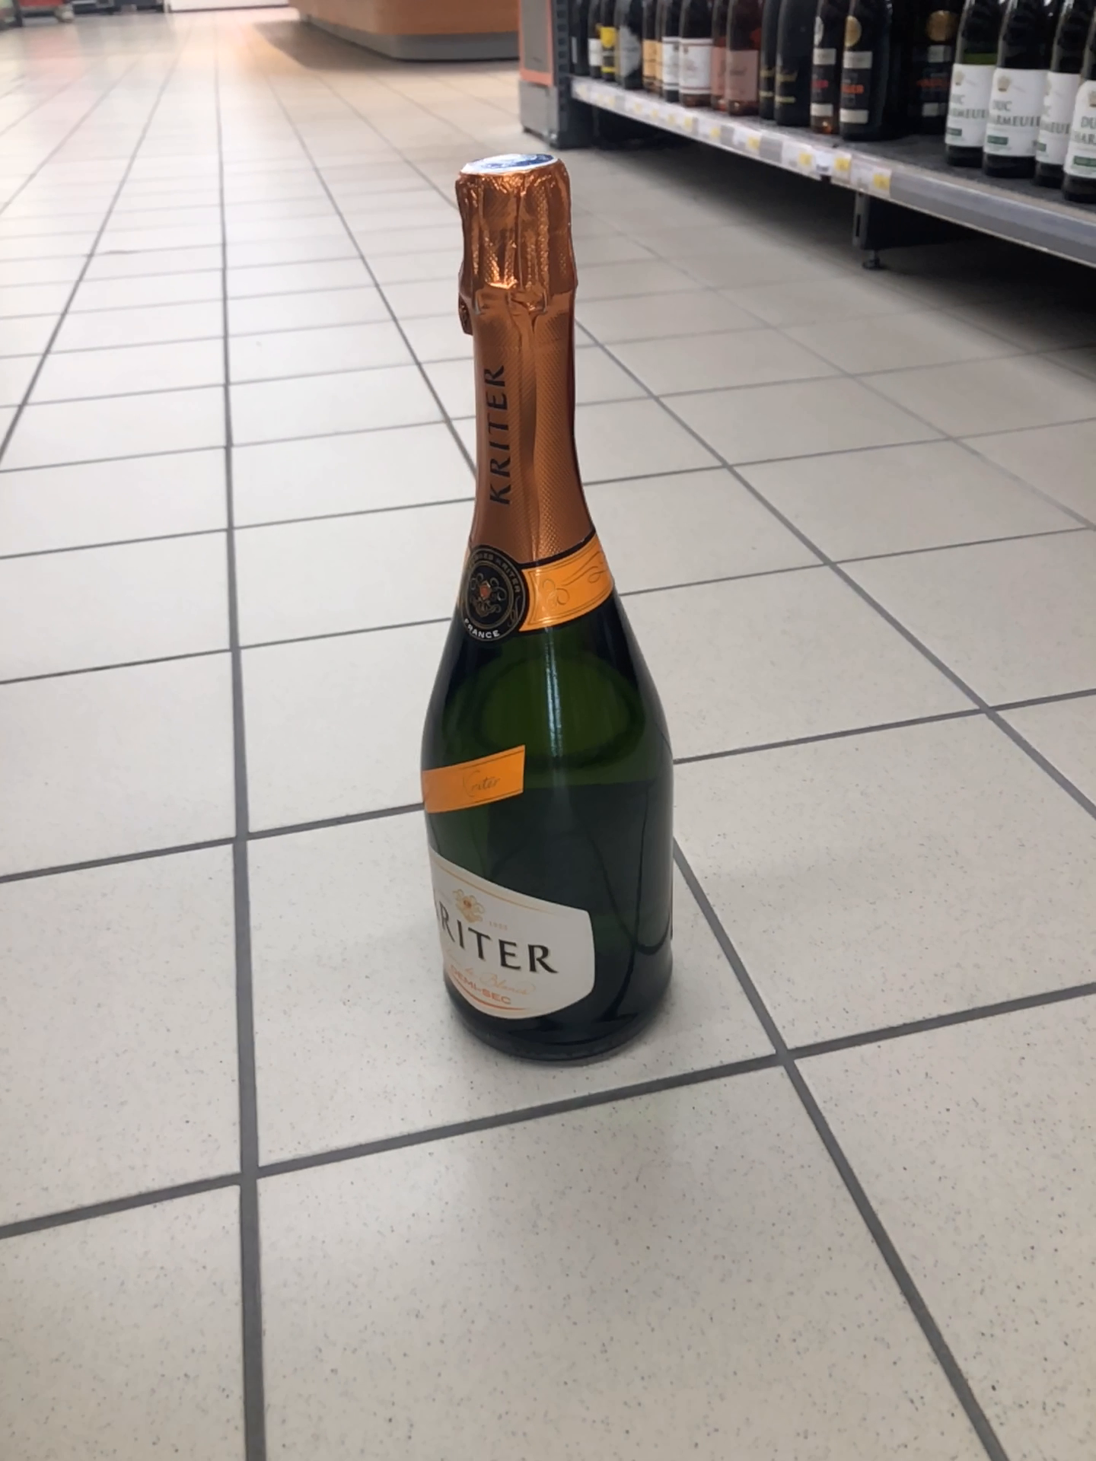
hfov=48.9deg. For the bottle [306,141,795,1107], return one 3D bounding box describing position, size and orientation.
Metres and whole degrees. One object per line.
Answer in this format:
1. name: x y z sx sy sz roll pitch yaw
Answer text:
1. bottle: 0.007 -0.031 0.425 0.100 0.308 0.101 -2 30 1
